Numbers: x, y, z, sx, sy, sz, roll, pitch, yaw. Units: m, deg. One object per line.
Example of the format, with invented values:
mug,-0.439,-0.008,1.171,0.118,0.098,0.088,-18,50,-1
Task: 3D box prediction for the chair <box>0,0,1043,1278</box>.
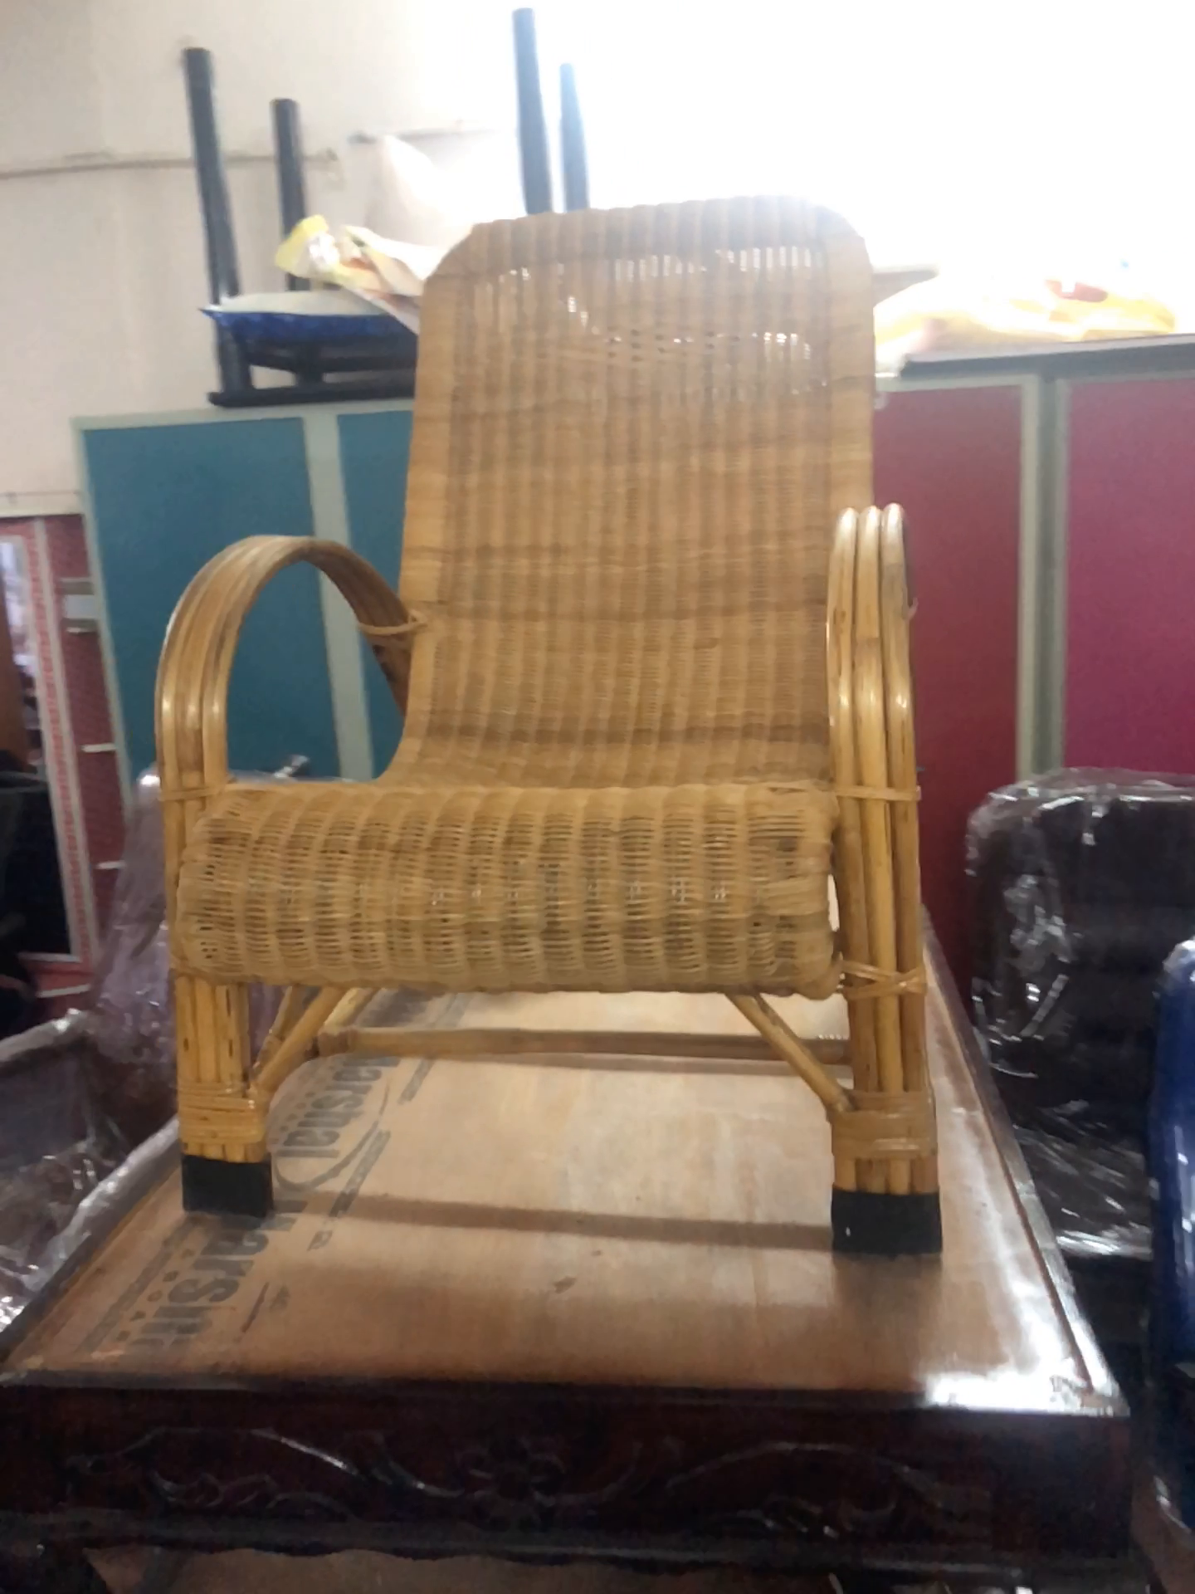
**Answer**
chair,-0.011,-0.217,1.344,0.769,0.997,0.823,-1,12,11
